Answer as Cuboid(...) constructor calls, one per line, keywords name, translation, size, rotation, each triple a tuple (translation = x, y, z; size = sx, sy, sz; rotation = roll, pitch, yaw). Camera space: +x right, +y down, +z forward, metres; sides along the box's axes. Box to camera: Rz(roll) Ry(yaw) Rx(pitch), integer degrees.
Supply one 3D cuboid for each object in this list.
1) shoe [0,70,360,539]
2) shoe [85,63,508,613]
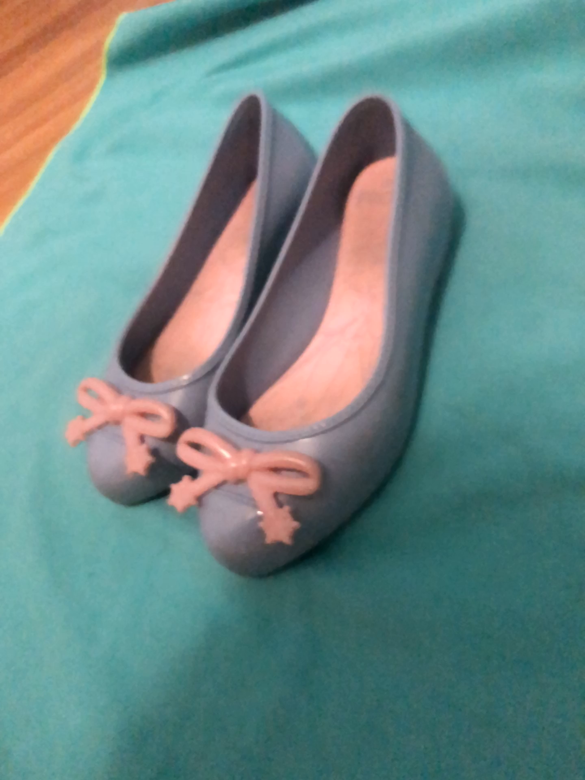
Cuboid(name="shoe", translation=(-0.047, -0.044, 0.289), size=(0.080, 0.060, 0.190), rotation=(9, 64, 33))
Cuboid(name="shoe", translation=(0.013, -0.028, 0.251), size=(0.080, 0.060, 0.190), rotation=(9, 64, 33))
